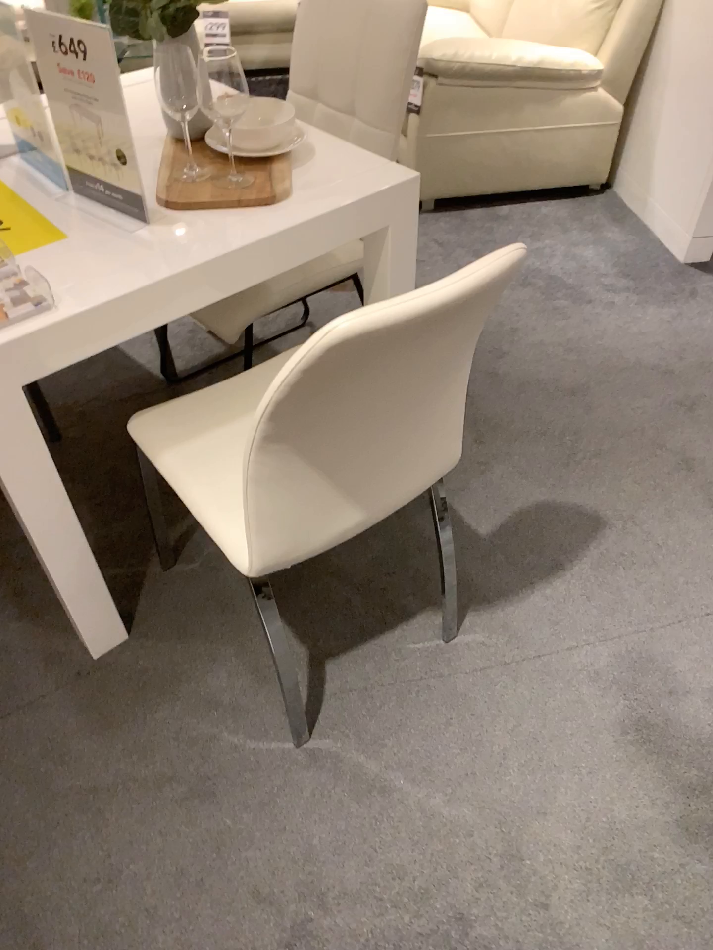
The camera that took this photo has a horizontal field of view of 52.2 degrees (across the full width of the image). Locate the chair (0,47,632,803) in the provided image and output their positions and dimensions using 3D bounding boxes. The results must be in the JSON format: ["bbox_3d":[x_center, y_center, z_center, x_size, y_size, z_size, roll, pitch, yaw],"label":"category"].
[{"bbox_3d":[-0.085,-0.055,1.205,0.480,0.955,0.648,-27,51,-24],"label":"chair"}]
